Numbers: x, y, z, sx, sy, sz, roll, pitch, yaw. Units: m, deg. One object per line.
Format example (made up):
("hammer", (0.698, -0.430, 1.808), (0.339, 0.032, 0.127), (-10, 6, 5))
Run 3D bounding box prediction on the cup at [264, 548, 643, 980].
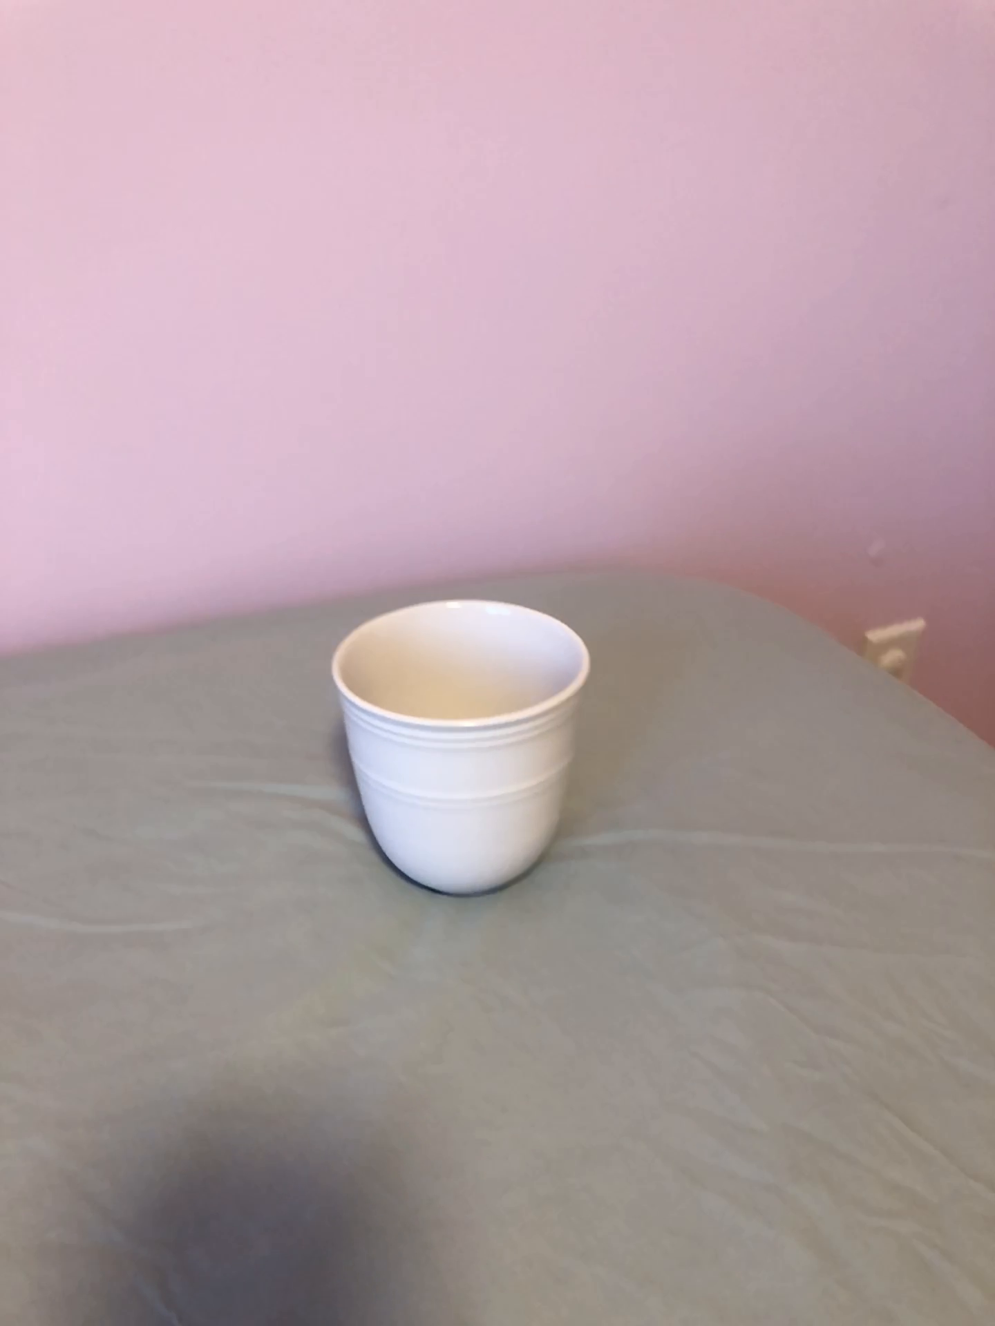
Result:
("cup", (-0.011, 0.033, 0.456), (0.100, 0.100, 0.141), (12, 32, 19))
